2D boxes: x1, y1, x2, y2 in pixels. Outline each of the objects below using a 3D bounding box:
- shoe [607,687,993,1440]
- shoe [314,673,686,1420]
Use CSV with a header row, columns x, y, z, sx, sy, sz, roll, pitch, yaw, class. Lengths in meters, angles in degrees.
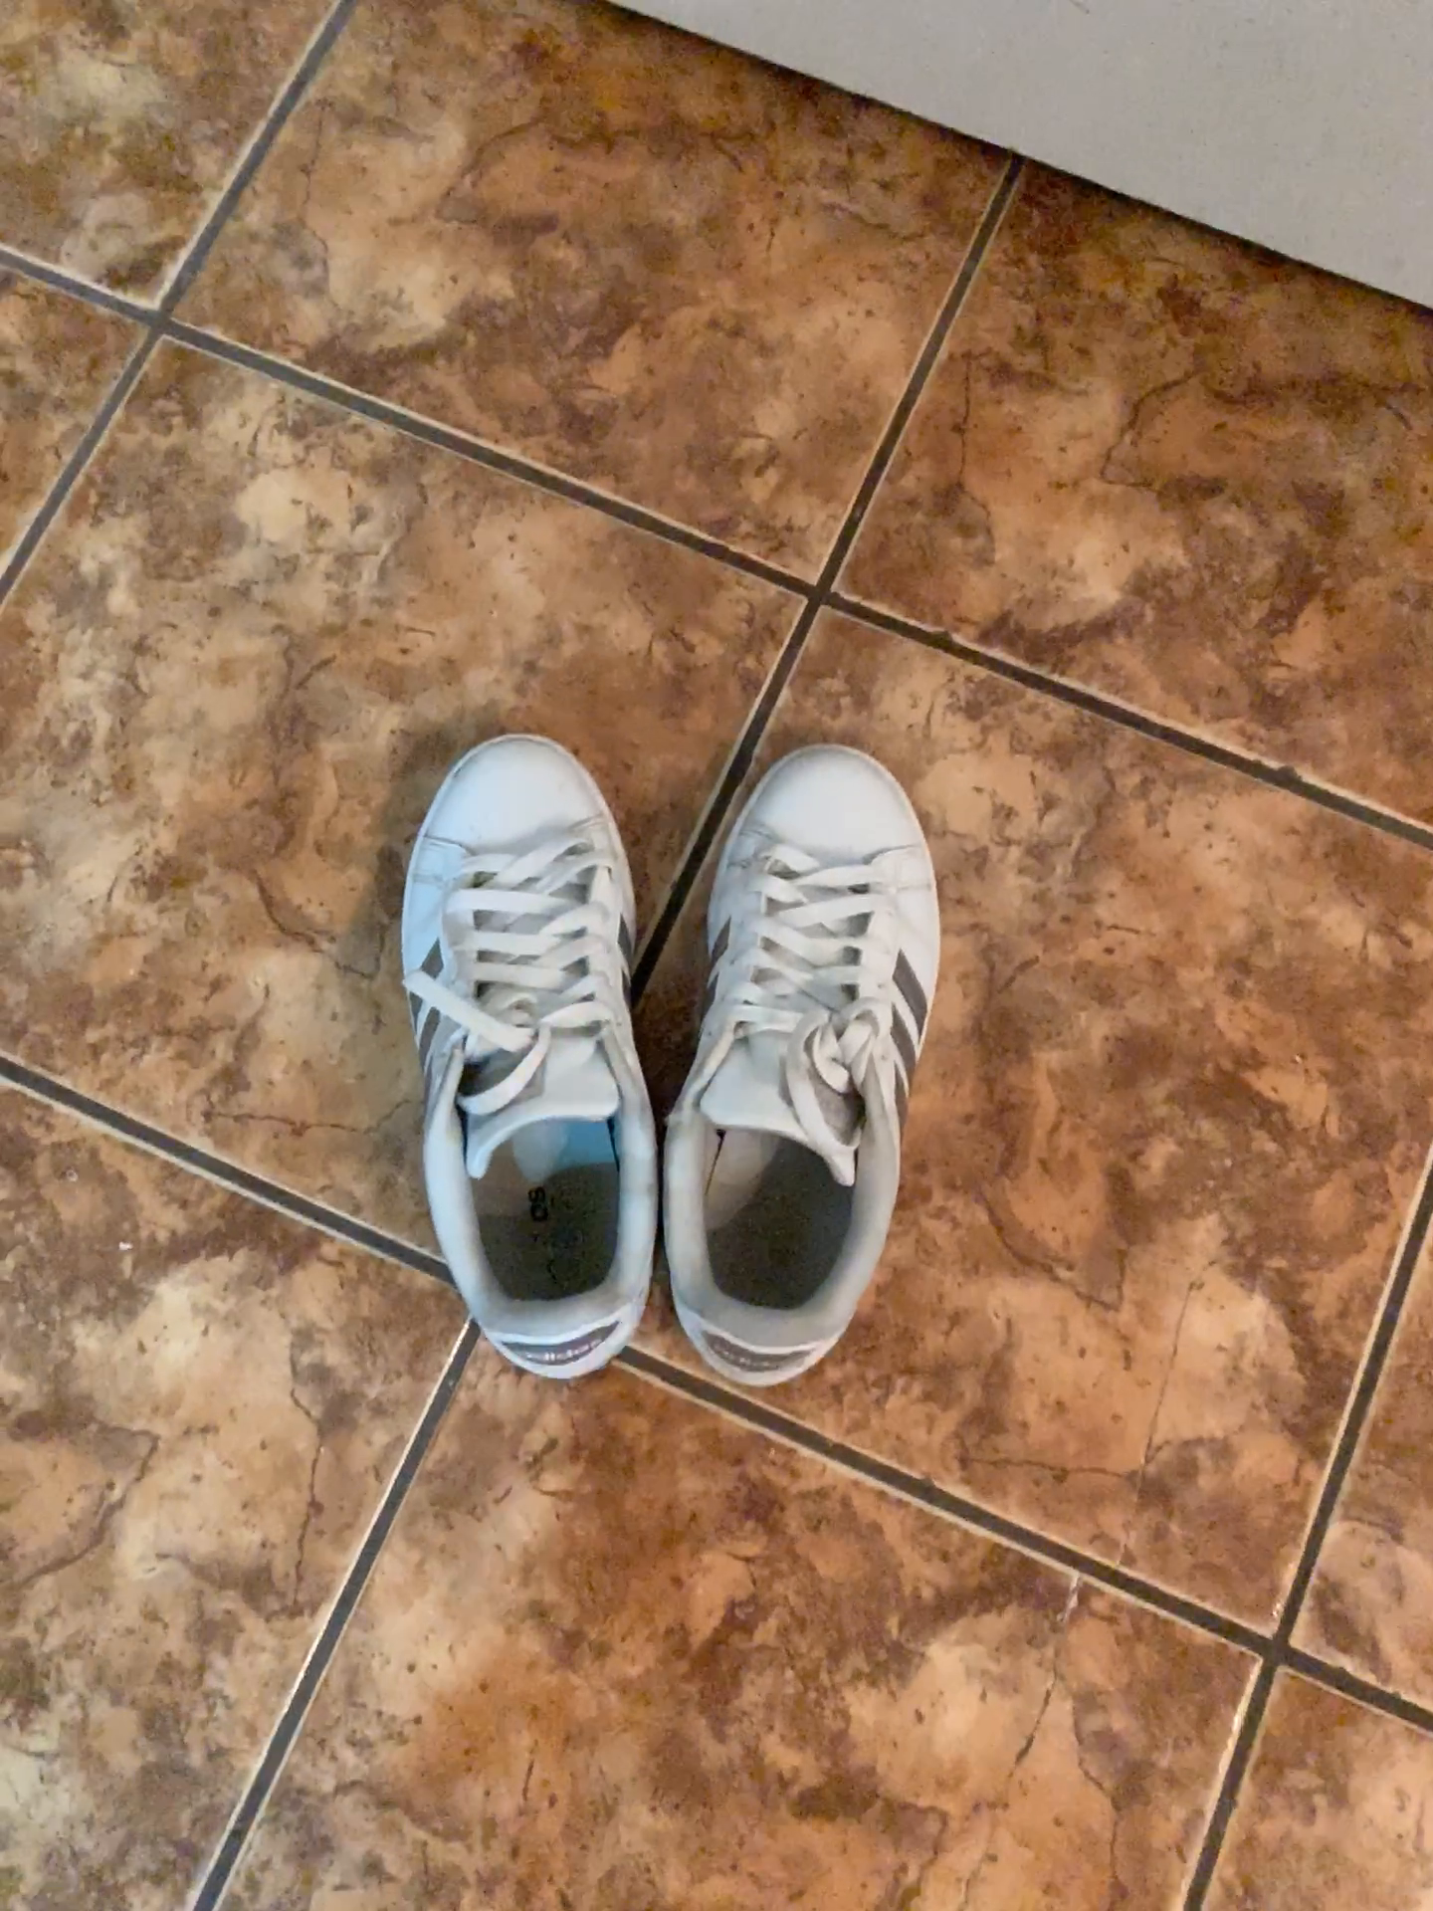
x,y,z,sx,sy,sz,roll,pitch,yaw,class
0.034,0.042,0.562,0.101,0.104,0.256,8,75,3,shoe
-0.081,0.037,0.564,0.101,0.104,0.256,-8,75,-2,shoe
